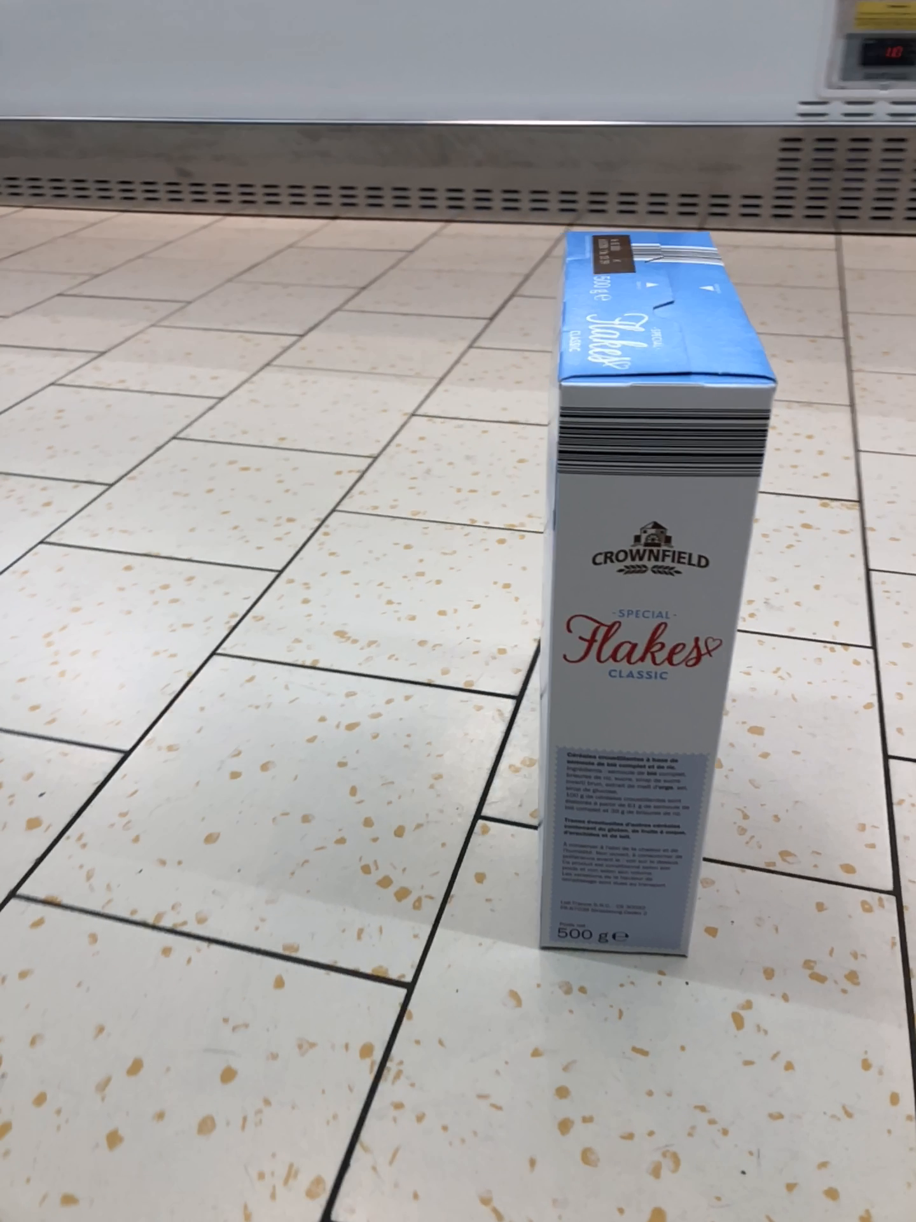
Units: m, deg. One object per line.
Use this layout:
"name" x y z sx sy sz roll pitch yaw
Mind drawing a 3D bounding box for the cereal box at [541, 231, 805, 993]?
"cereal box" 0.079 -0.006 0.445 0.070 0.268 0.201 2 32 6
